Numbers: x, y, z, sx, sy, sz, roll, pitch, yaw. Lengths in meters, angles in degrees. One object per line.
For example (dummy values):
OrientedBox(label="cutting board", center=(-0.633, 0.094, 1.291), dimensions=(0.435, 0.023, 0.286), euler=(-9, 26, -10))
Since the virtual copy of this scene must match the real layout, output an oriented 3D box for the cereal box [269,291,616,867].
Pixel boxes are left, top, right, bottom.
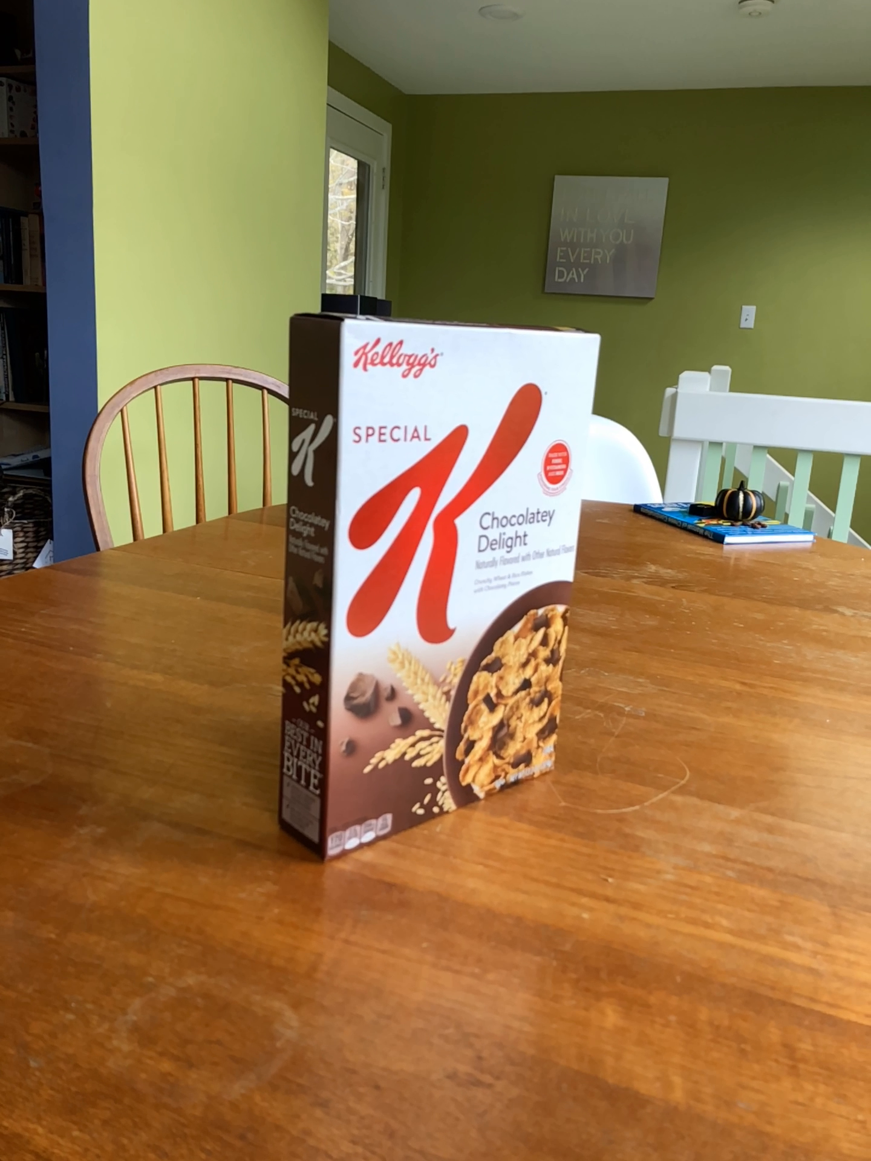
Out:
OrientedBox(label="cereal box", center=(0.006, -0.009, 0.547), dimensions=(0.201, 0.289, 0.050), euler=(-10, 20, -42))
